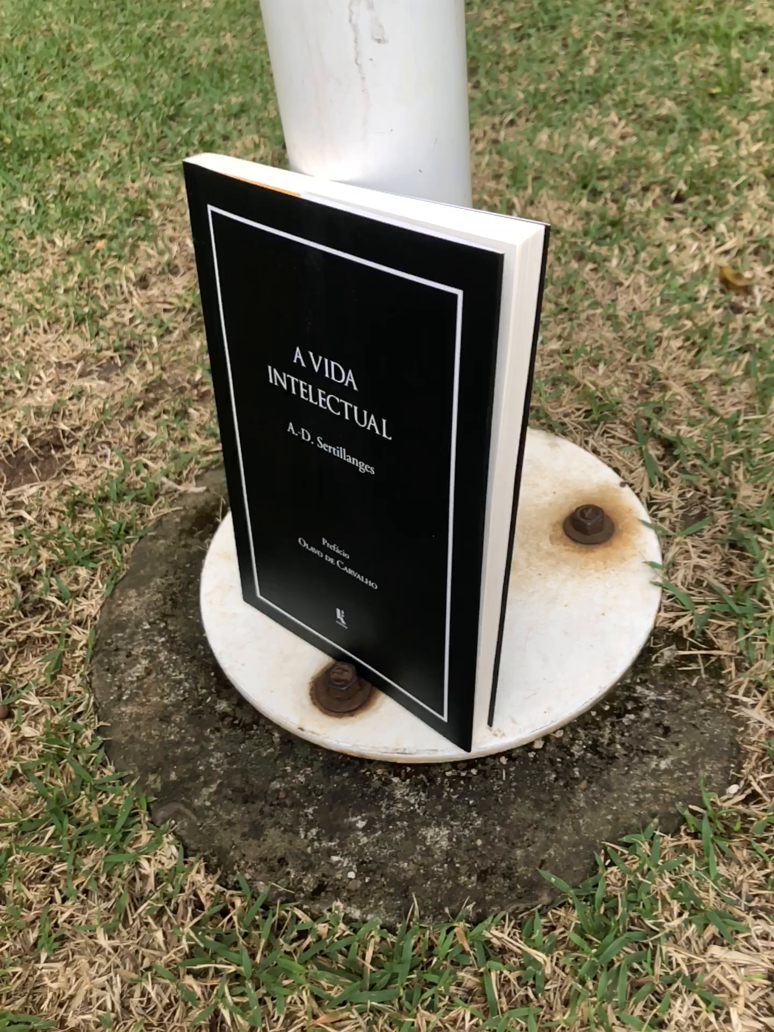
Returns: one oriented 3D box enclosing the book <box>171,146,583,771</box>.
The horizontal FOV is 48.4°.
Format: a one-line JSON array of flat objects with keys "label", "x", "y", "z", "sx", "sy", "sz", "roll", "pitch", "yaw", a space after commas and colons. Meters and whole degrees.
[{"label": "book", "x": -0.009, "y": -0.017, "z": 0.308, "sx": 0.141, "sy": 0.193, "sz": 0.025, "roll": 28, "pitch": 45, "yaw": 33}]
